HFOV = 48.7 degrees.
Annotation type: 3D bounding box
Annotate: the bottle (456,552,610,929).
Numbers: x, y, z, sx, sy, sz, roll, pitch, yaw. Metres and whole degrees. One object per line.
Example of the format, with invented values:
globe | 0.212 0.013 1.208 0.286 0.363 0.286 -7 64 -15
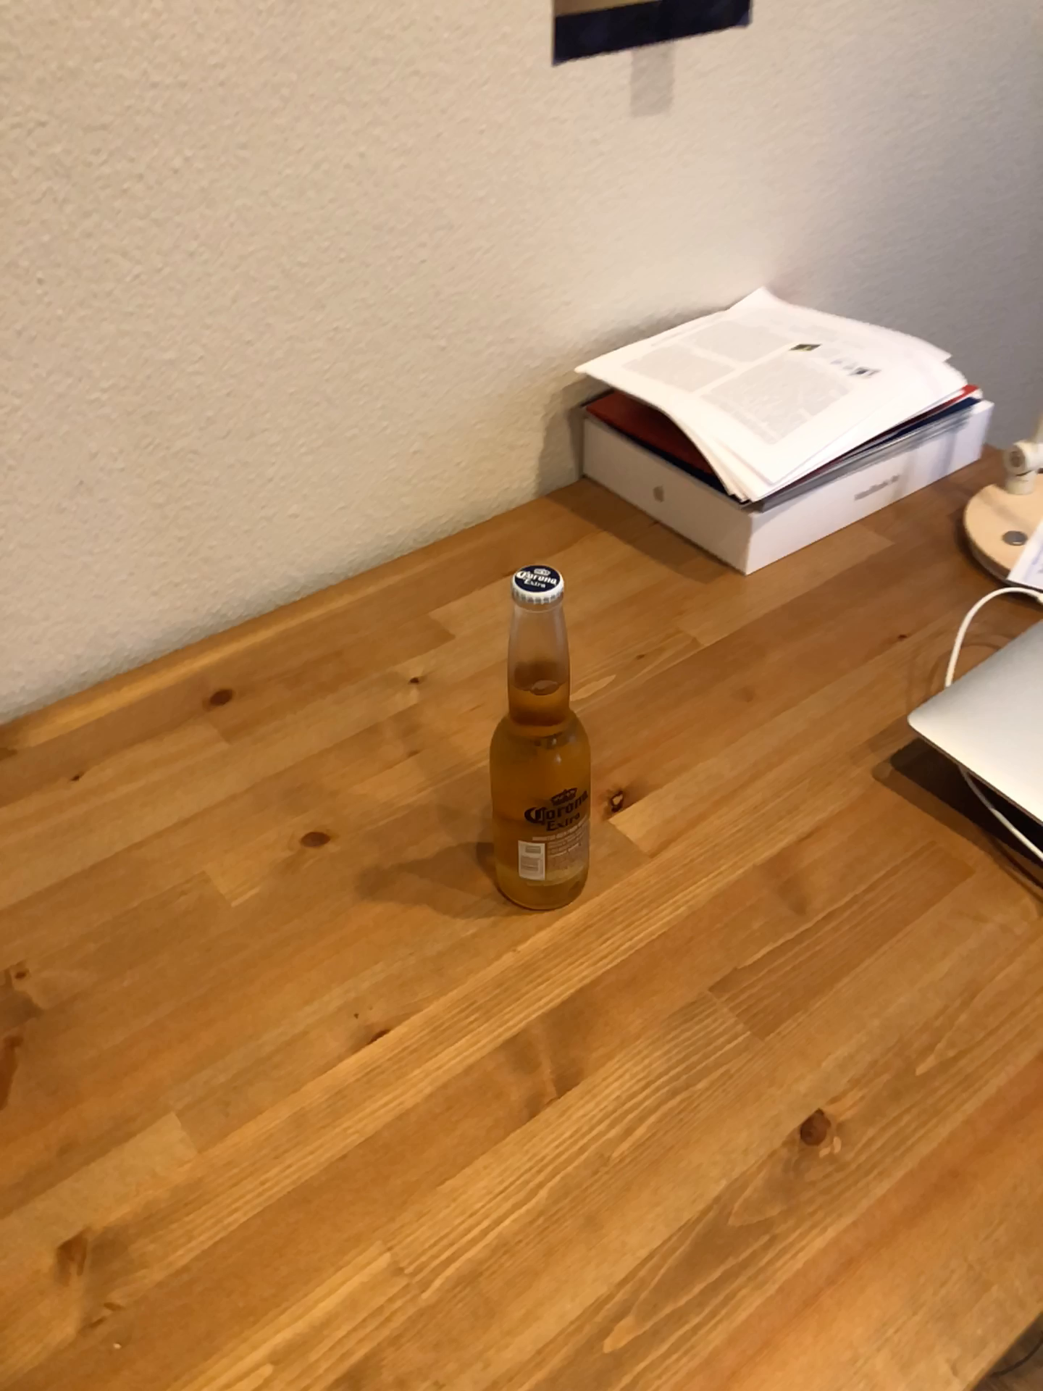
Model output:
bottle | 0.008 0.034 0.688 0.070 0.229 0.070 -1 40 1
